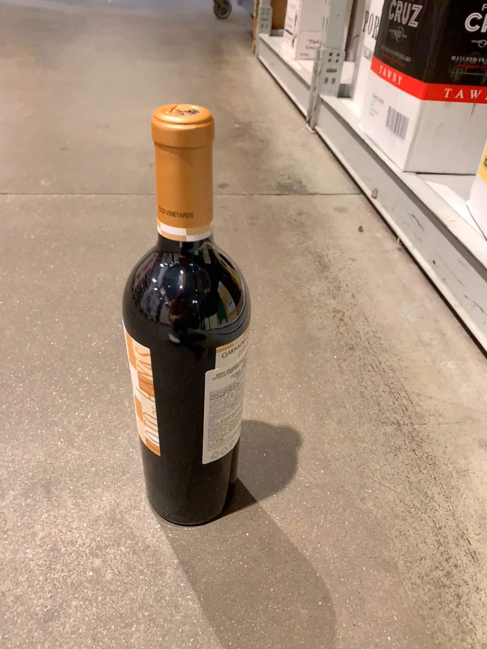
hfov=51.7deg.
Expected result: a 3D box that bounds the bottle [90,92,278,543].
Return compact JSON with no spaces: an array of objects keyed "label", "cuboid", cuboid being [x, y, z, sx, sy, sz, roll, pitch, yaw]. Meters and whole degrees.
[{"label":"bottle","cuboid":[-0.038,0.022,0.343,0.080,0.317,0.080,2,37,-2]}]
